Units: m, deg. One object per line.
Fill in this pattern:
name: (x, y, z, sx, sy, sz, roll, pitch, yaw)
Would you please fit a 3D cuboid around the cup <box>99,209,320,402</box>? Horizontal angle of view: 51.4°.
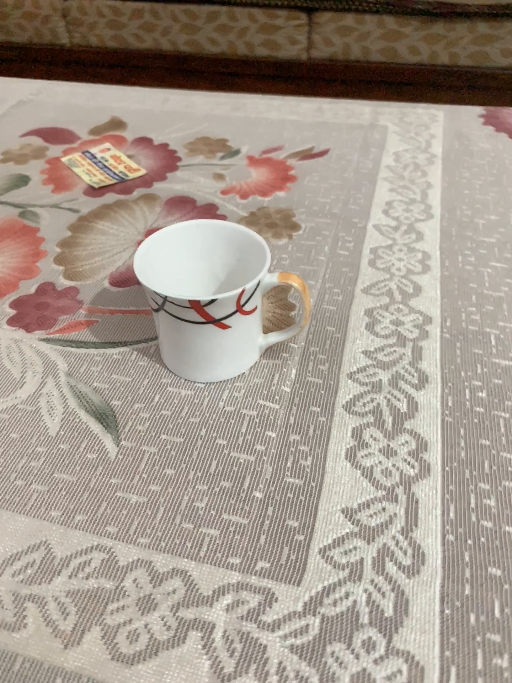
cup: (-0.017, -0.020, 0.269, 0.090, 0.060, 0.070, 5, 44, 8)
